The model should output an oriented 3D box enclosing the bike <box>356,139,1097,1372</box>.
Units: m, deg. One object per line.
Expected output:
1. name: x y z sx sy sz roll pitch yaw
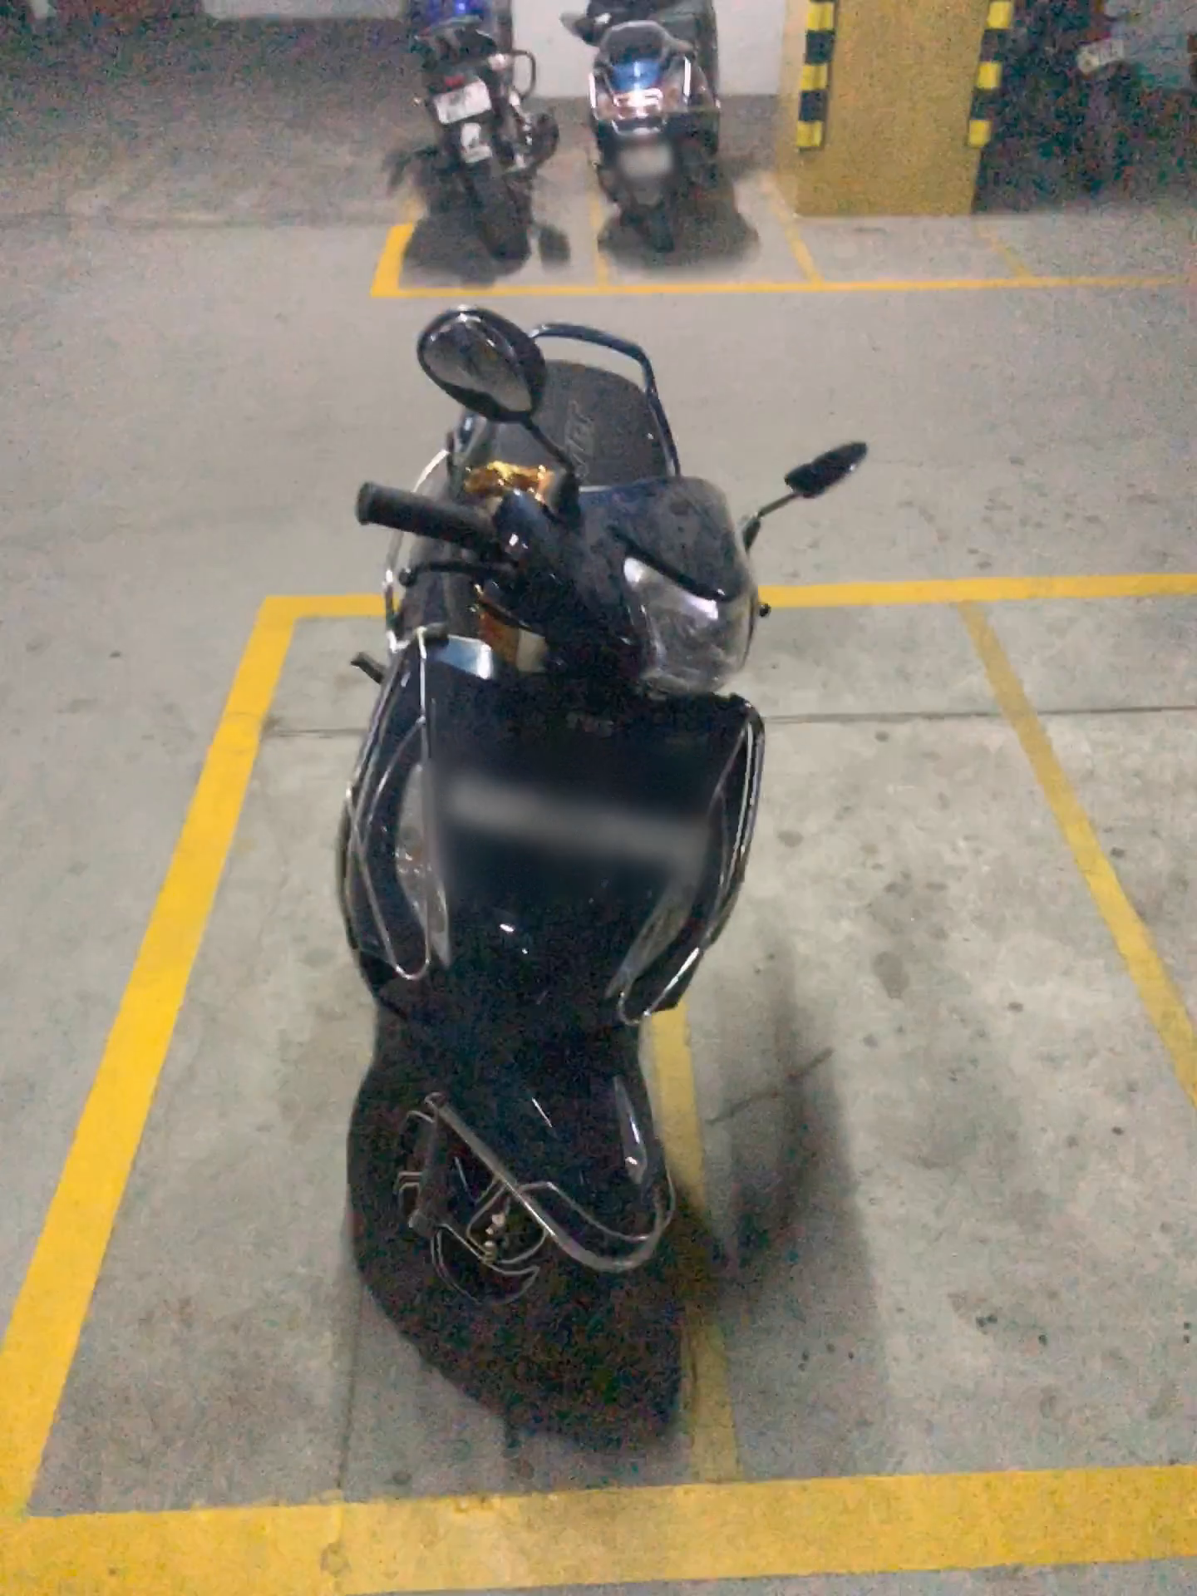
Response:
1. bike: 0.031 -0.214 1.997 0.664 1.029 1.701 -4 44 -5
